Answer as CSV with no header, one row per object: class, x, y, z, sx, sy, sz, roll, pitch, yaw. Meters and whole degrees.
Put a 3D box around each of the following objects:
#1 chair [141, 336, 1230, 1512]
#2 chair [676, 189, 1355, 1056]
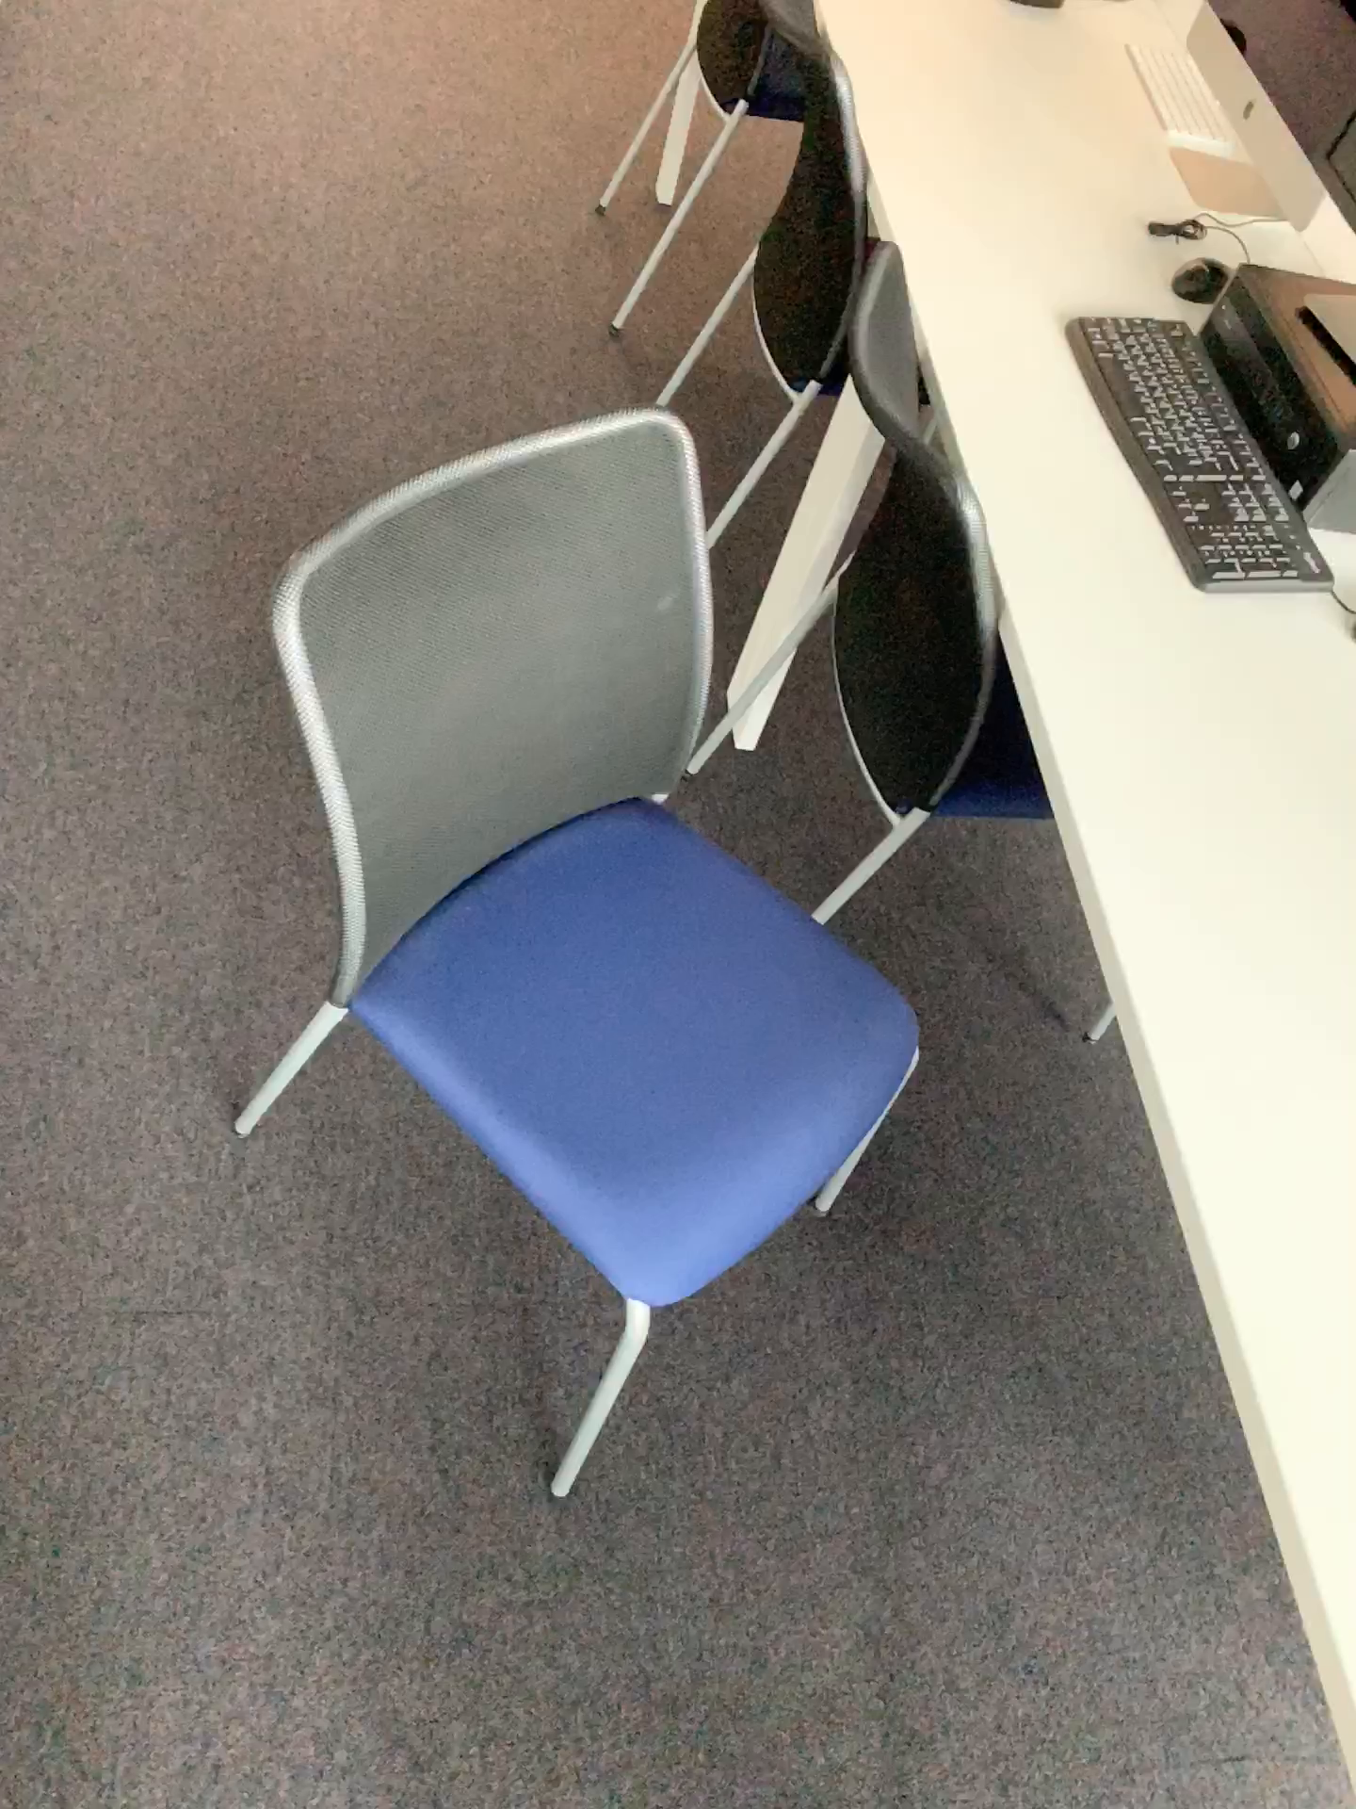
chair,-0.062,0.053,1.370,0.630,0.827,0.572,43,54,16
chair,0.440,-0.280,1.767,0.651,0.866,0.572,4,54,-14
